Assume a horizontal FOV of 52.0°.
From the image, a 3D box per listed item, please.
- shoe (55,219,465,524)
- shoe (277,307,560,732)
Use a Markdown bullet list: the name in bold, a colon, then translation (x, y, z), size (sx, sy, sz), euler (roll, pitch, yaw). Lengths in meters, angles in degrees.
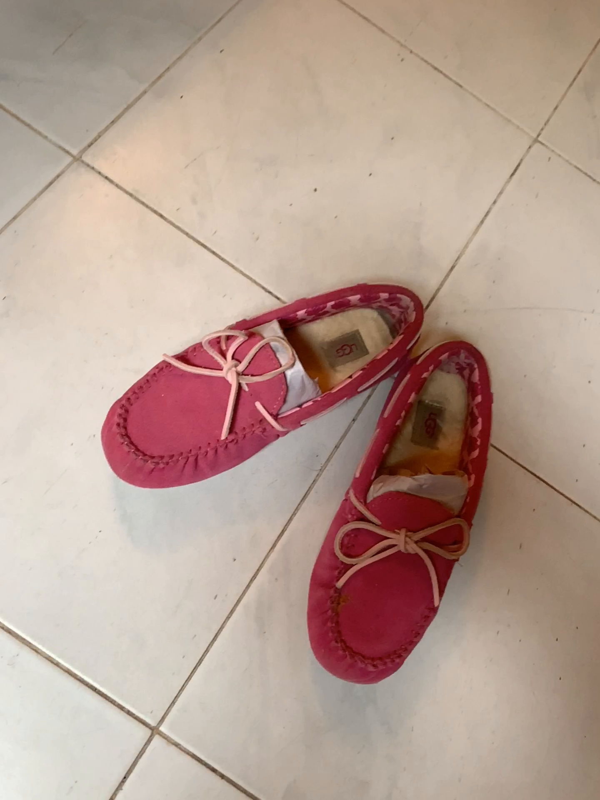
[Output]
- **shoe**: translation (-0.022, -0.019, 0.400), size (0.227, 0.084, 0.090), euler (-27, 81, -18)
- **shoe**: translation (0.077, 0.069, 0.398), size (0.090, 0.084, 0.227), euler (25, 70, -4)
